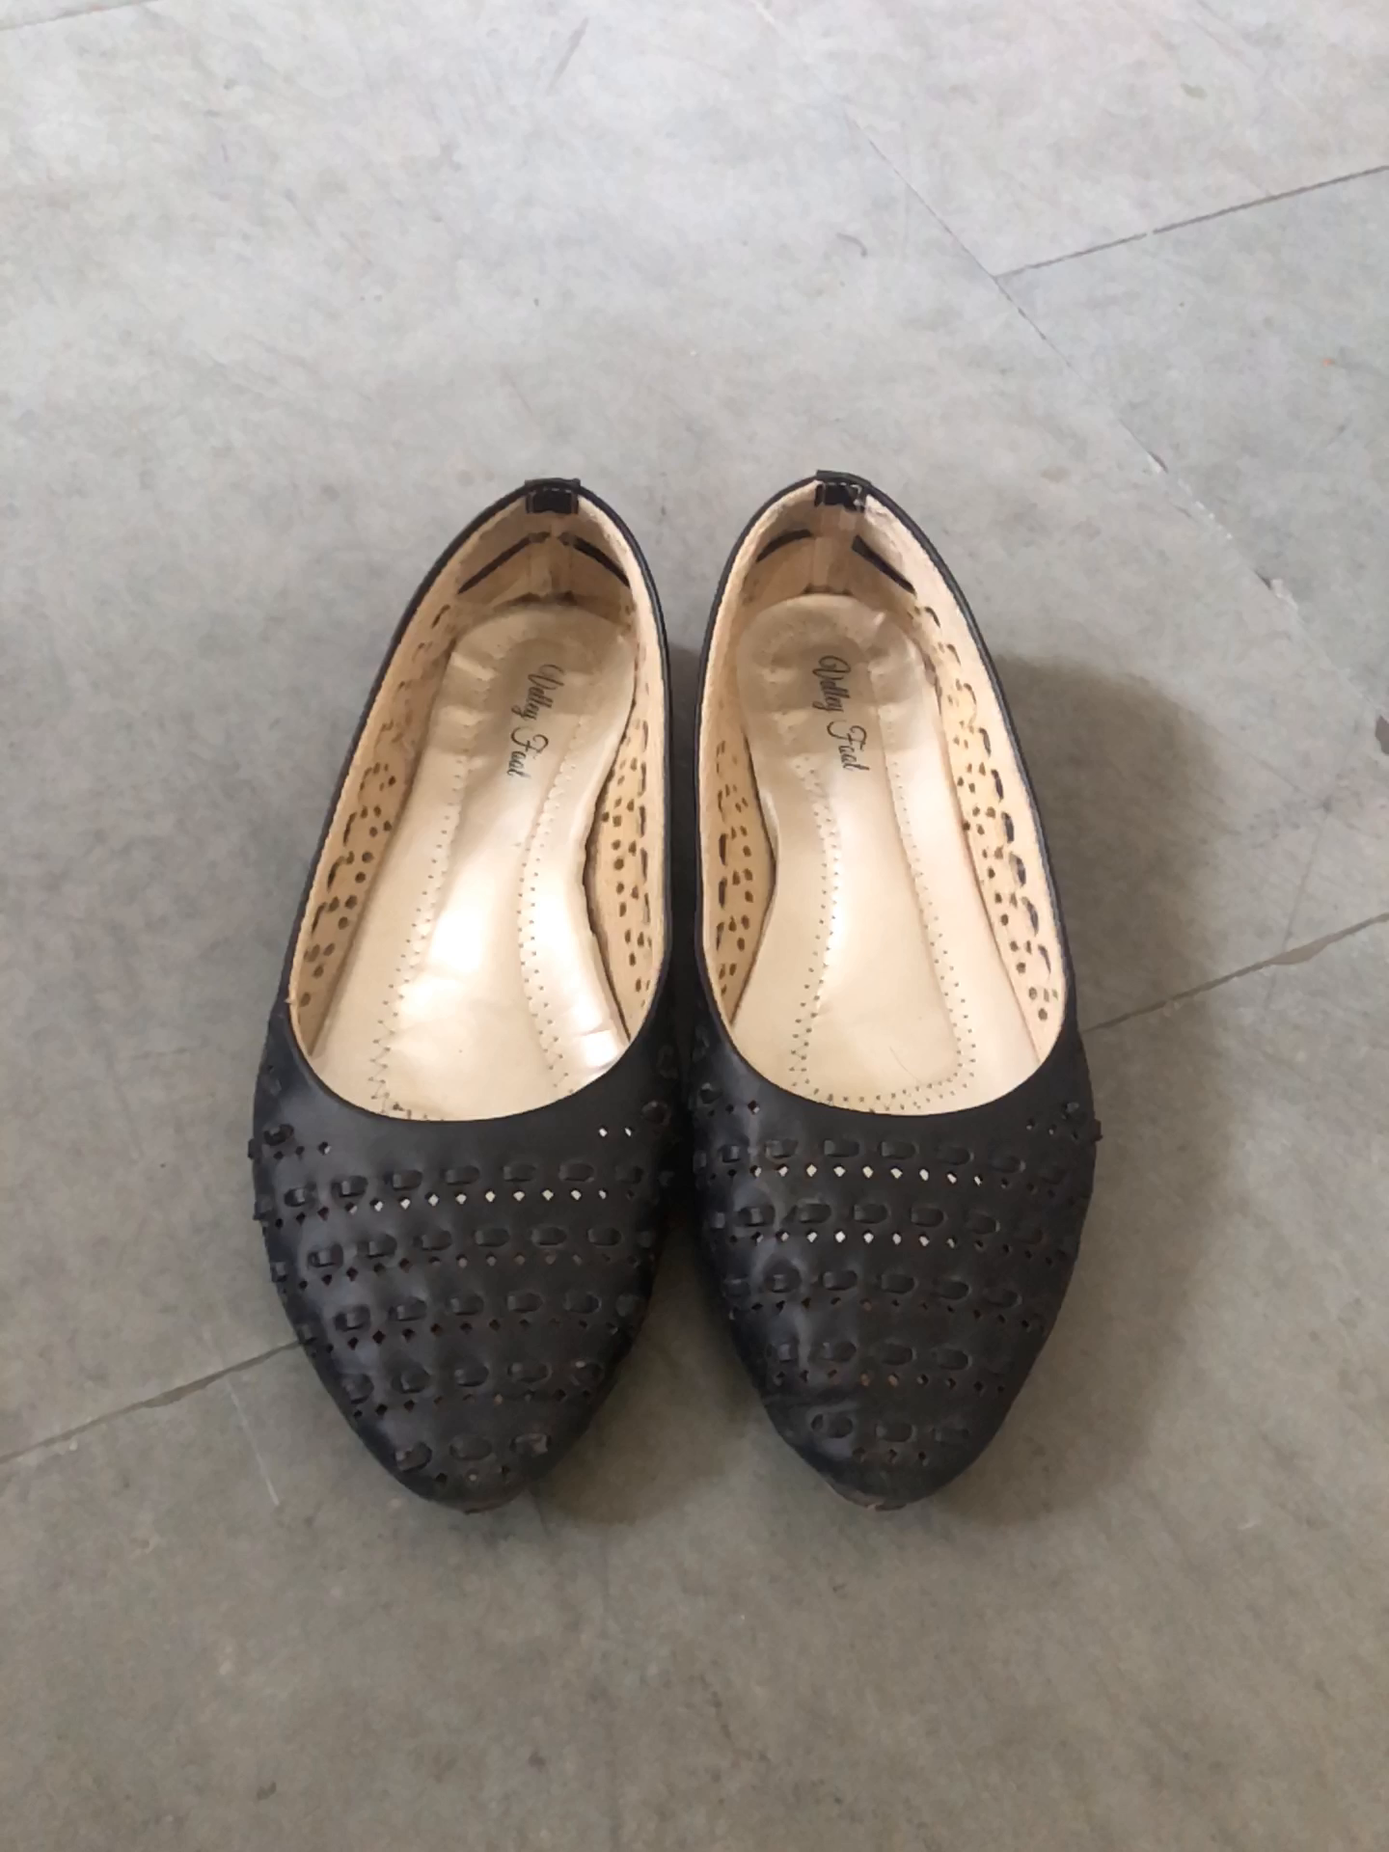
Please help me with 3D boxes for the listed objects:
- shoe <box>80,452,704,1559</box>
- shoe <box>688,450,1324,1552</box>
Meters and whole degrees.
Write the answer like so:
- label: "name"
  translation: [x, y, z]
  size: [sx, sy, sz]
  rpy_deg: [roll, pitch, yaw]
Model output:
- label: "shoe"
  translation: [-0.048, 0.003, 0.338]
  size: [0.095, 0.062, 0.242]
  rpy_deg: [1, 56, 0]
- label: "shoe"
  translation: [0.050, 0.003, 0.346]
  size: [0.095, 0.073, 0.242]
  rpy_deg: [-1, 56, -2]
